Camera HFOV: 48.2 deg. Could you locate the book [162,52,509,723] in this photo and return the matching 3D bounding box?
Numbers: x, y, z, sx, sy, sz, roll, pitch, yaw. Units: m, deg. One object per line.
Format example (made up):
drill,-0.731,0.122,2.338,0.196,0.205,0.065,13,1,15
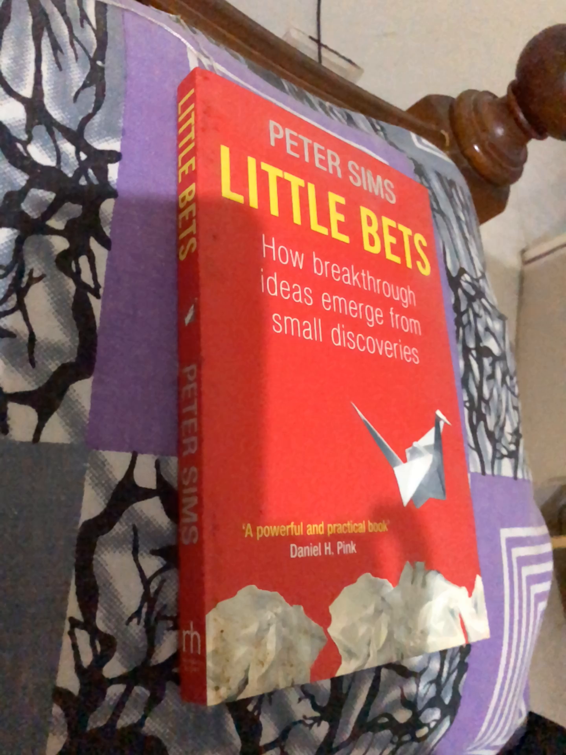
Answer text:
book,0.023,-0.003,0.269,0.151,0.020,0.240,10,67,-38
